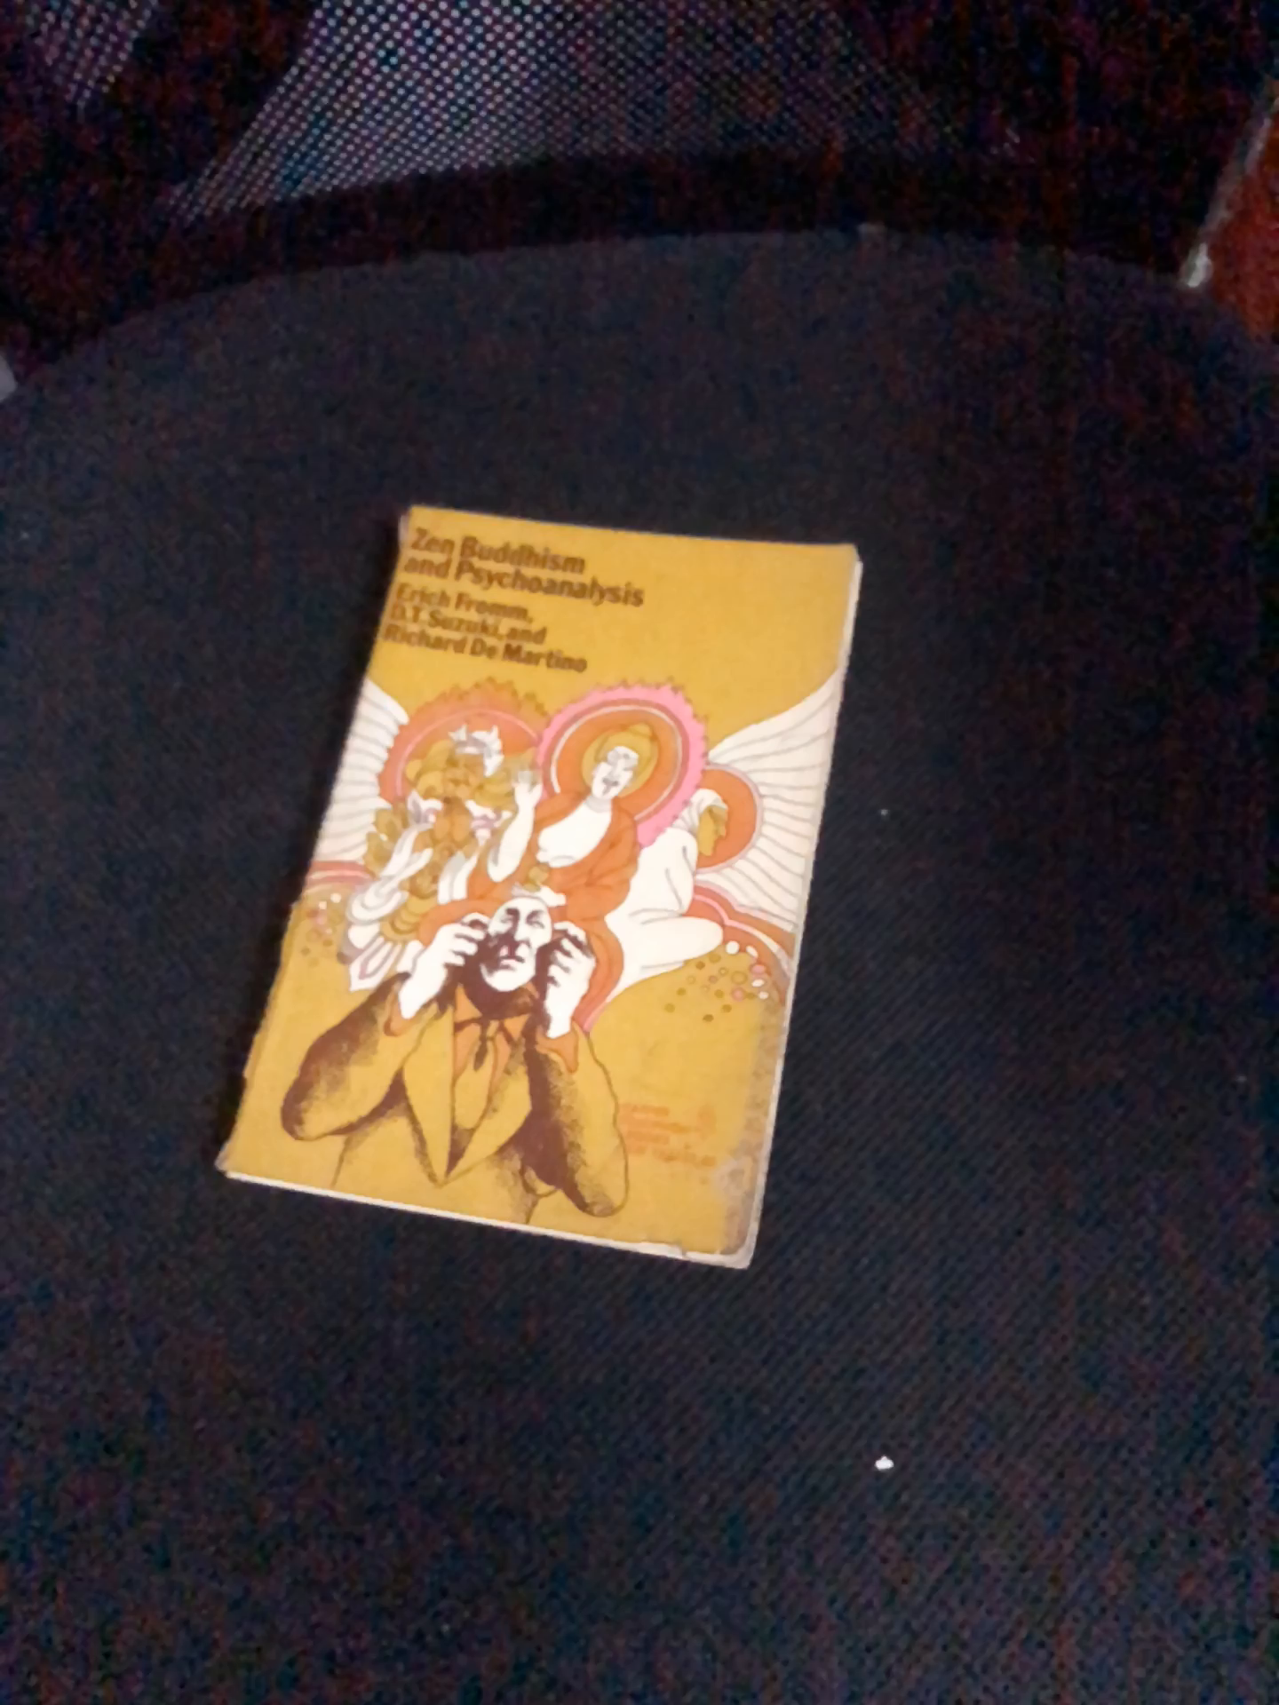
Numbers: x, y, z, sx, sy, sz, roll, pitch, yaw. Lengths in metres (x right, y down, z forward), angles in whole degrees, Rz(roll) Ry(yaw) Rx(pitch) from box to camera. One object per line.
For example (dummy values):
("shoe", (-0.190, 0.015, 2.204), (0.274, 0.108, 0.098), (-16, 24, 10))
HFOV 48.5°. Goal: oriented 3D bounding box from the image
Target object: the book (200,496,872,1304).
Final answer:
("book", (-0.019, 0.002, 0.369), (0.136, 0.020, 0.200), (7, 69, 8))
